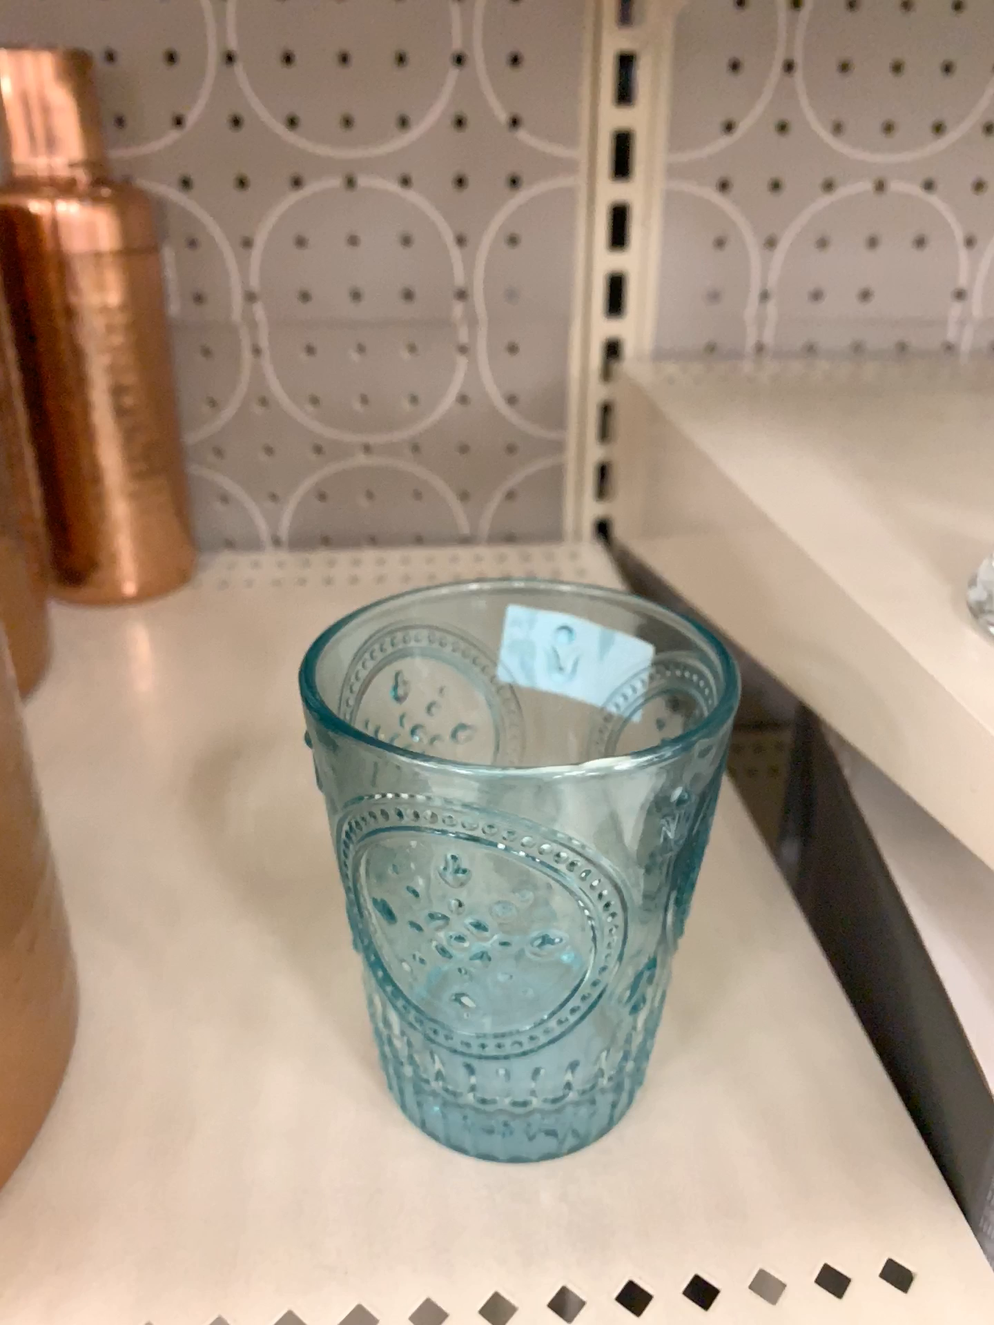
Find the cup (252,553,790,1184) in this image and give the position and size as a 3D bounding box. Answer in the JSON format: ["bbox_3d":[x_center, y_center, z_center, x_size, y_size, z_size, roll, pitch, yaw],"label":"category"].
[{"bbox_3d":[0.002,0.036,0.206,0.078,0.091,0.076,0,28,0],"label":"cup"}]
